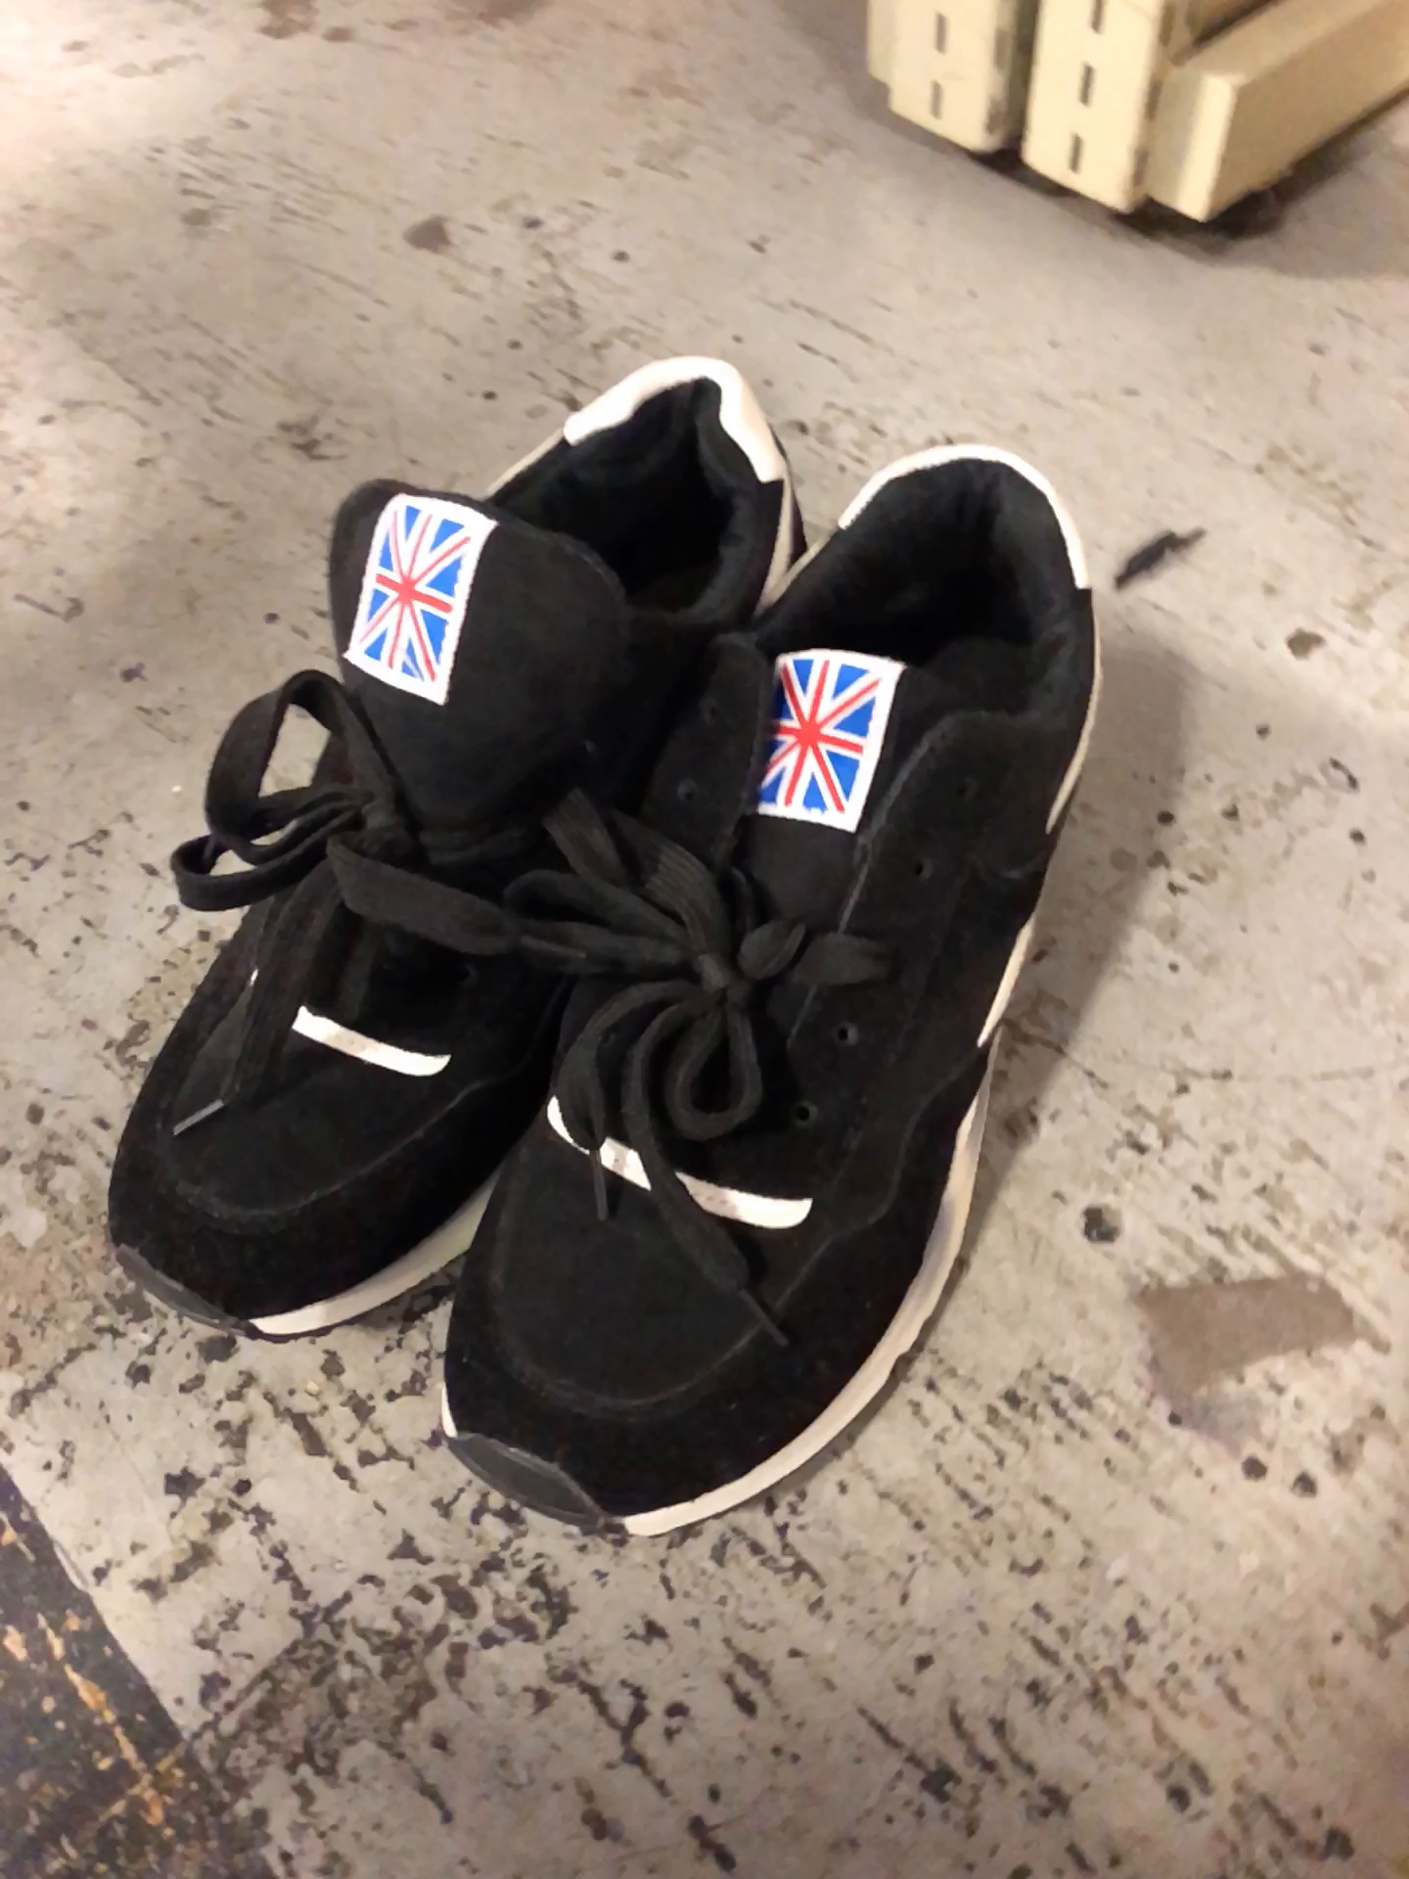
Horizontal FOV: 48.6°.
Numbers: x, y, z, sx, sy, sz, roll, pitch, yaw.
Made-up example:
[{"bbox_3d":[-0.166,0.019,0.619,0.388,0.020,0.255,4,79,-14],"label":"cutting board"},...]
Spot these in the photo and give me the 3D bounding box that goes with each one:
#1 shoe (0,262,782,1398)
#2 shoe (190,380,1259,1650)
[{"bbox_3d":[-0.078,-0.033,0.375,0.100,0.119,0.231,22,61,17],"label":"shoe"},{"bbox_3d":[0.021,0.006,0.349,0.110,0.109,0.241,22,61,17],"label":"shoe"}]
